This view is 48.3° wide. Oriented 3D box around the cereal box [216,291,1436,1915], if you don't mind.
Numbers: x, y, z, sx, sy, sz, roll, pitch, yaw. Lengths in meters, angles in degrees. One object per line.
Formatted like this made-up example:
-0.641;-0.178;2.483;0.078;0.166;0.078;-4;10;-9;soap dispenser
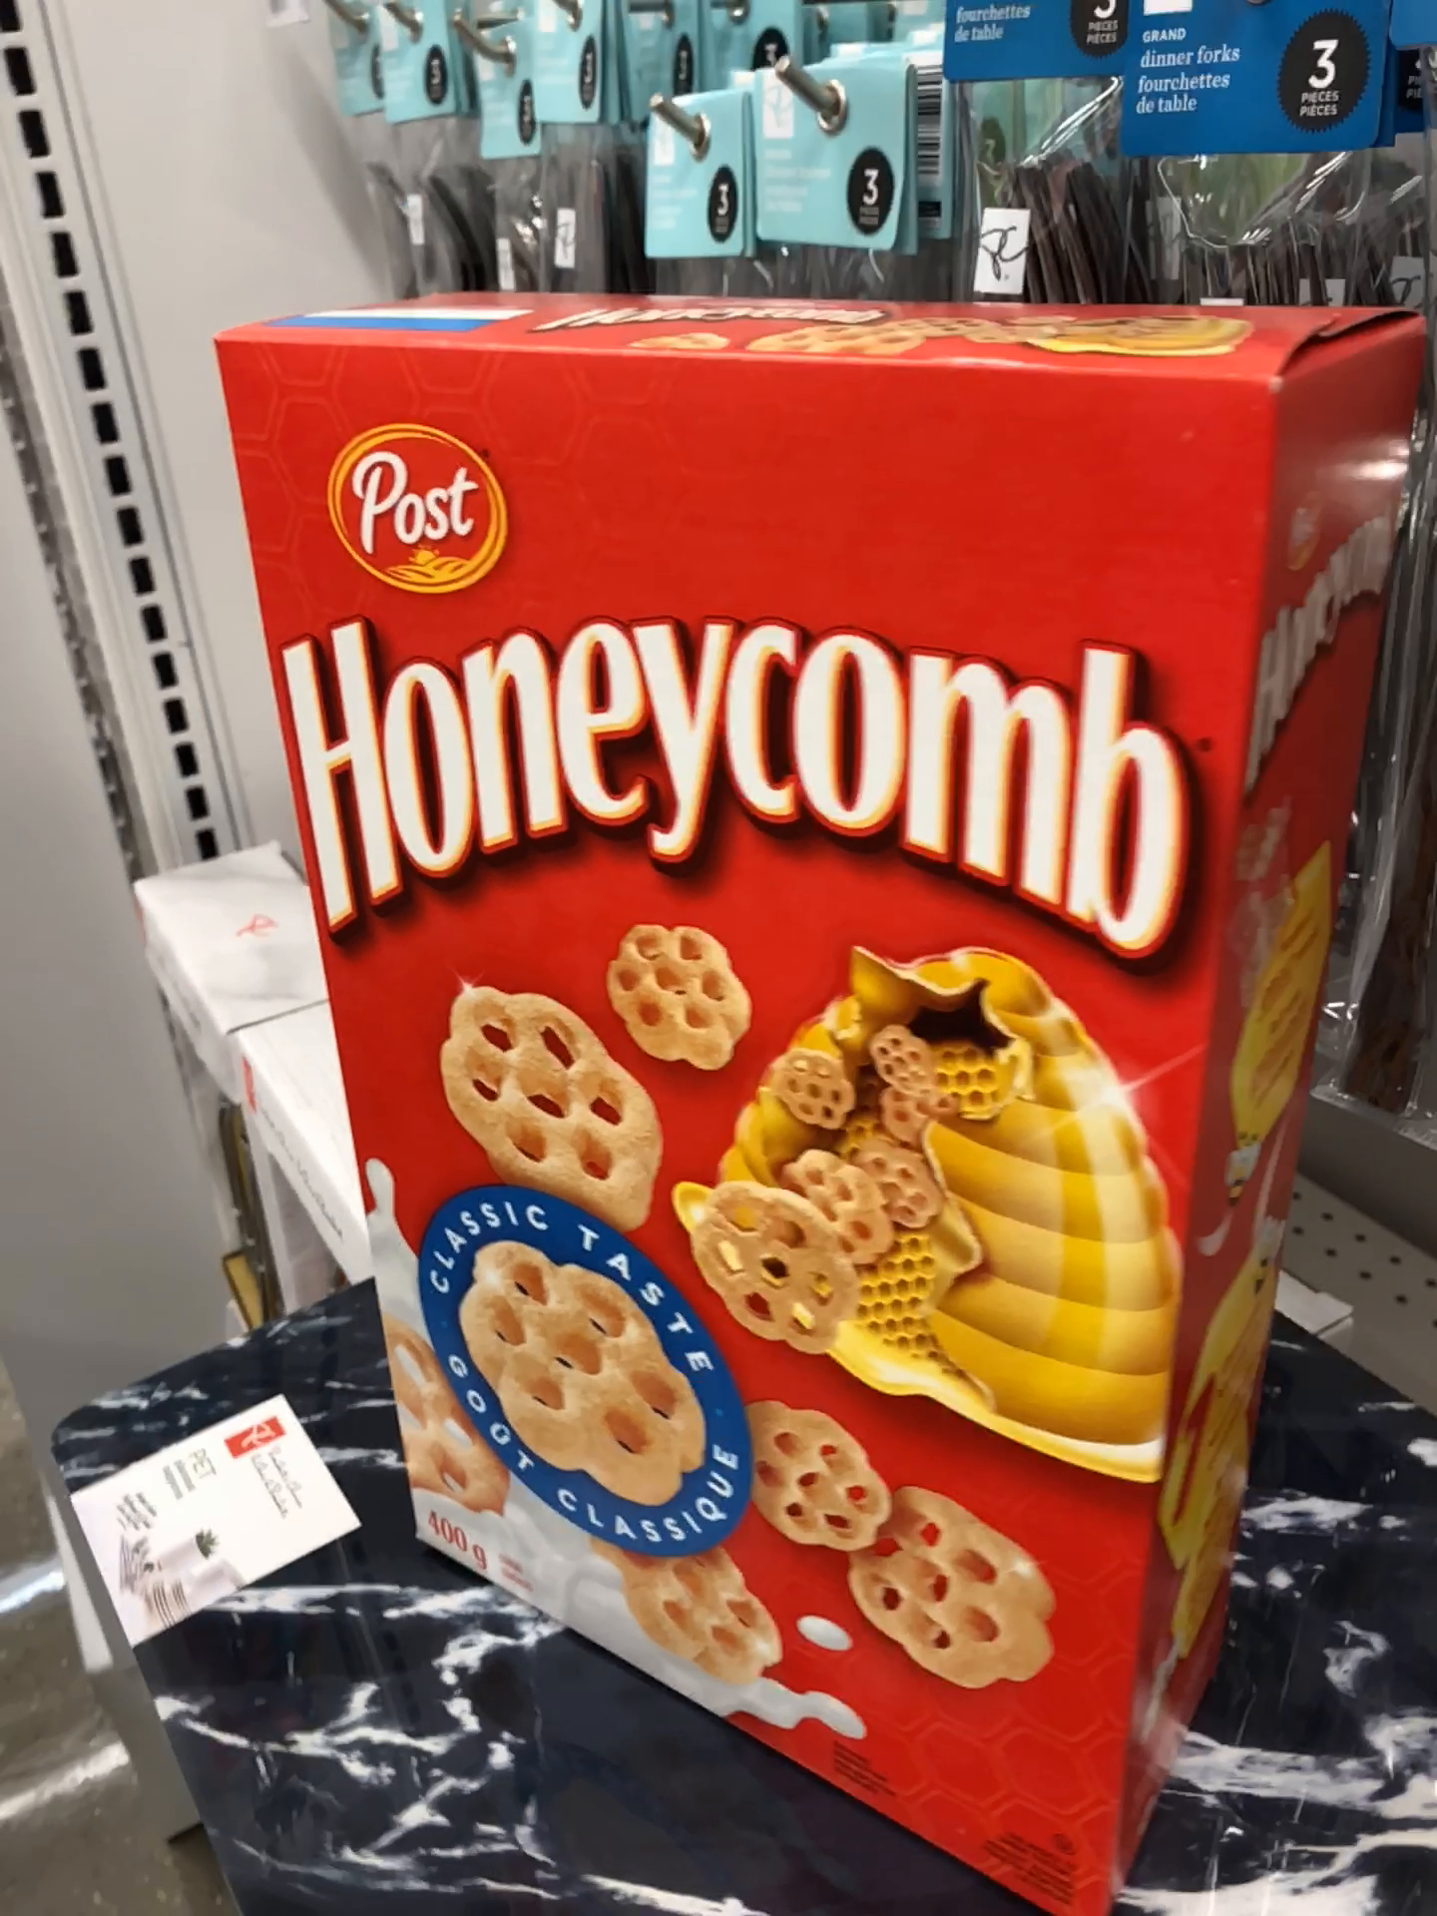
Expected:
0.016;0.025;0.335;0.210;0.299;0.070;16;31;33;cereal box
